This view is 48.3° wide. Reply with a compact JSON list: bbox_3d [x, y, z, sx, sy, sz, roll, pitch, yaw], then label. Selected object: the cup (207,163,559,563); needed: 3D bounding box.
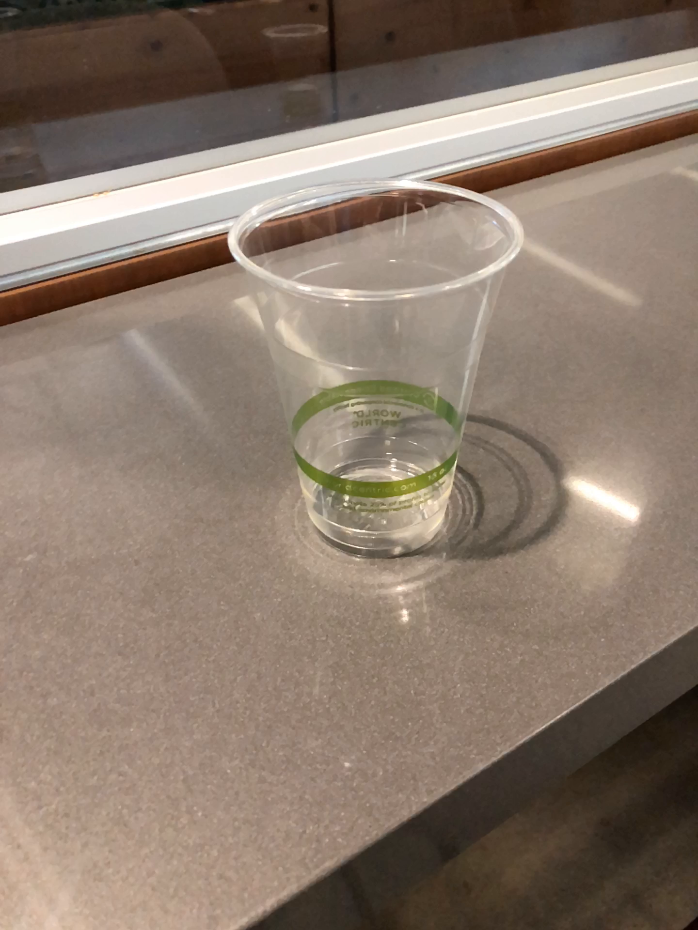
[{"bbox_3d":[0.010,-0.040,0.294,0.100,0.109,0.101,-2,37,1],"label":"cup"}]
